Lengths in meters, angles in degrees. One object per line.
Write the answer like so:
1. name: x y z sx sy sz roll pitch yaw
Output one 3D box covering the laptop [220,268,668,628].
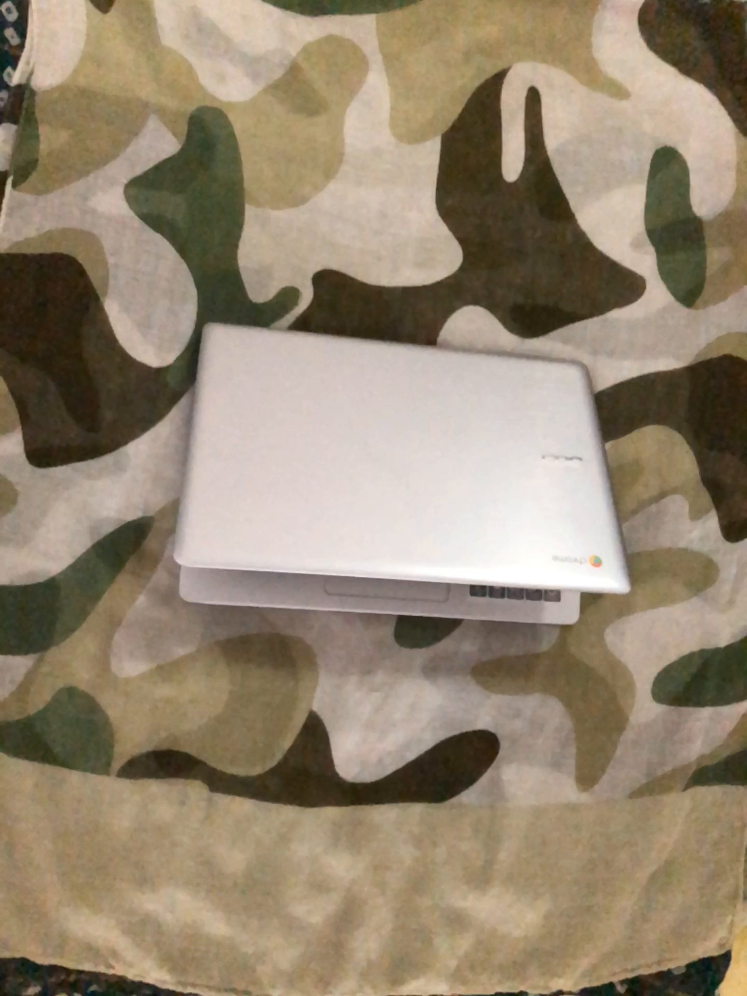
1. laptop: 0.048 -0.029 0.647 0.311 0.125 0.233 5 77 -9
